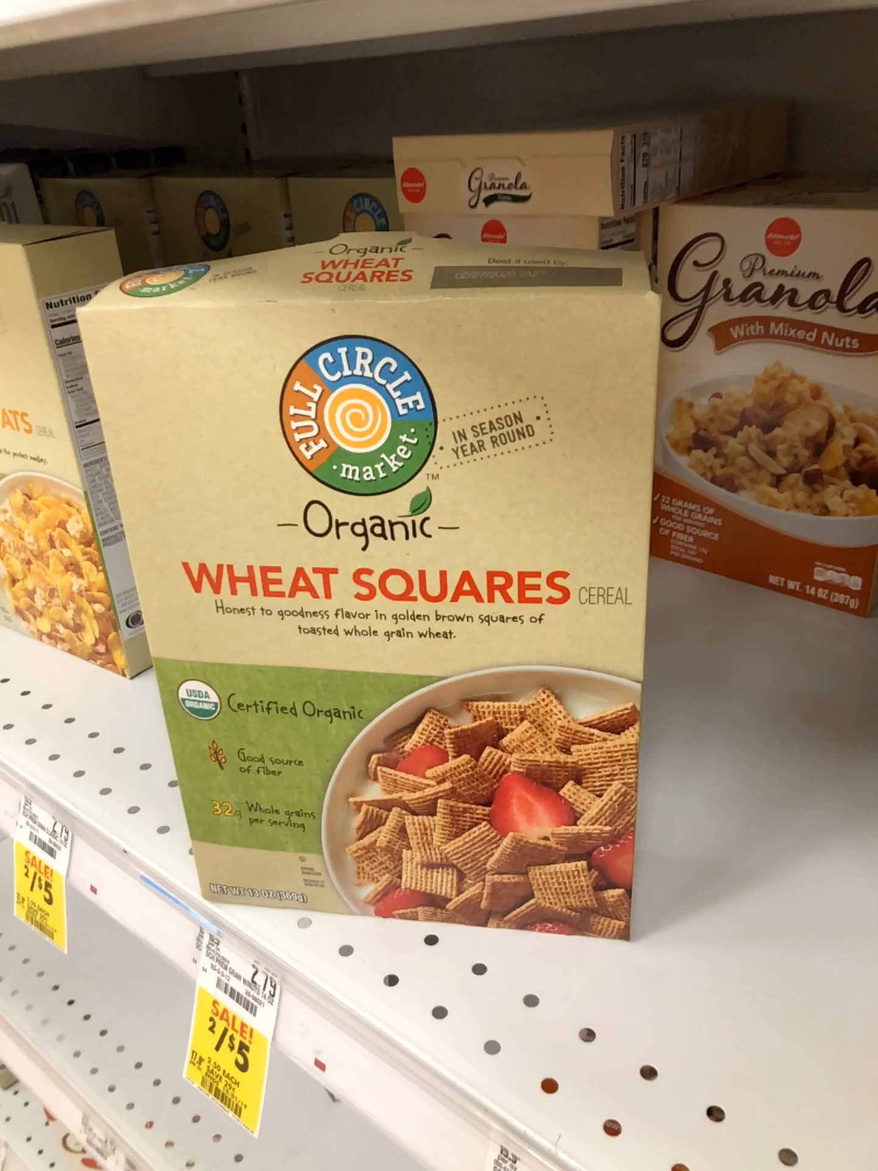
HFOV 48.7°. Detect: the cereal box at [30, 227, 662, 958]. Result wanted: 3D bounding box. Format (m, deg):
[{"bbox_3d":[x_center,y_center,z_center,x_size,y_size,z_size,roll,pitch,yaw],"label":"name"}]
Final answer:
[{"bbox_3d":[-0.019,0.017,0.380,0.200,0.279,0.050,1,28,12],"label":"cereal box"}]
